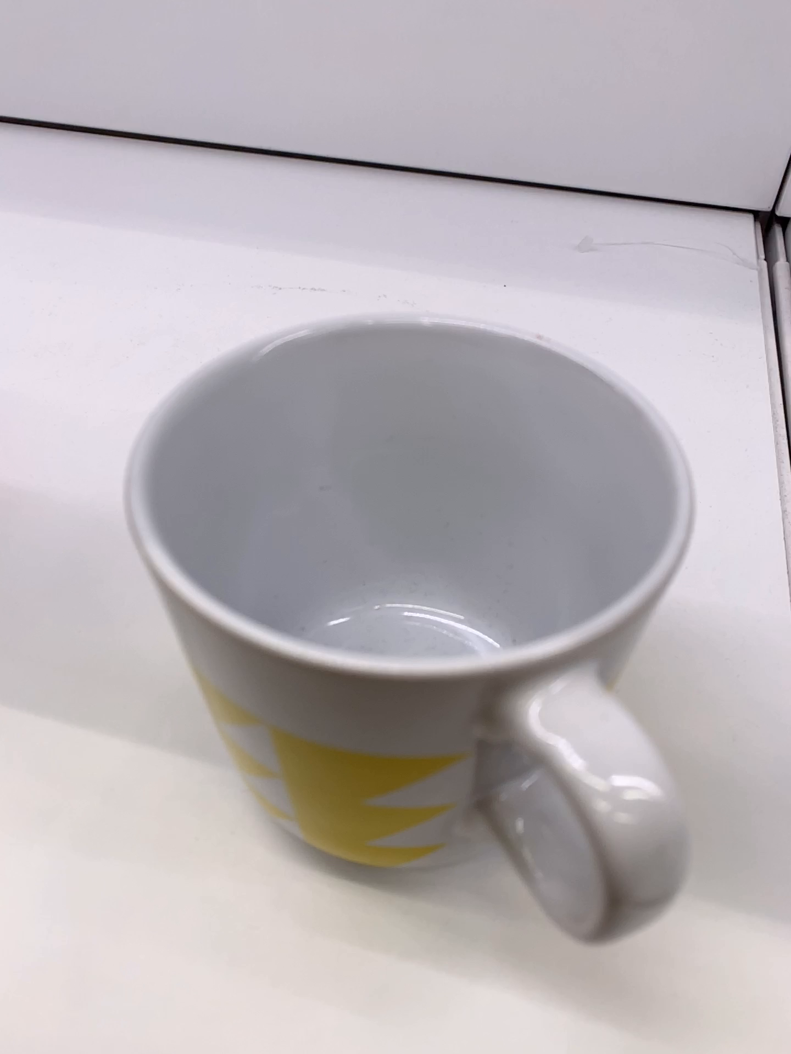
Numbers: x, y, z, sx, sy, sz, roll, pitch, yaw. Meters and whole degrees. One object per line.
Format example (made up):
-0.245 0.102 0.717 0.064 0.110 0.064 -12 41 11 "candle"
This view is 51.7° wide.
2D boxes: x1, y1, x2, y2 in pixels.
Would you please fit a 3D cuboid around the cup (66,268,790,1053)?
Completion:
0.007 0.018 0.133 0.084 0.065 0.108 -17 46 -19 "cup"
